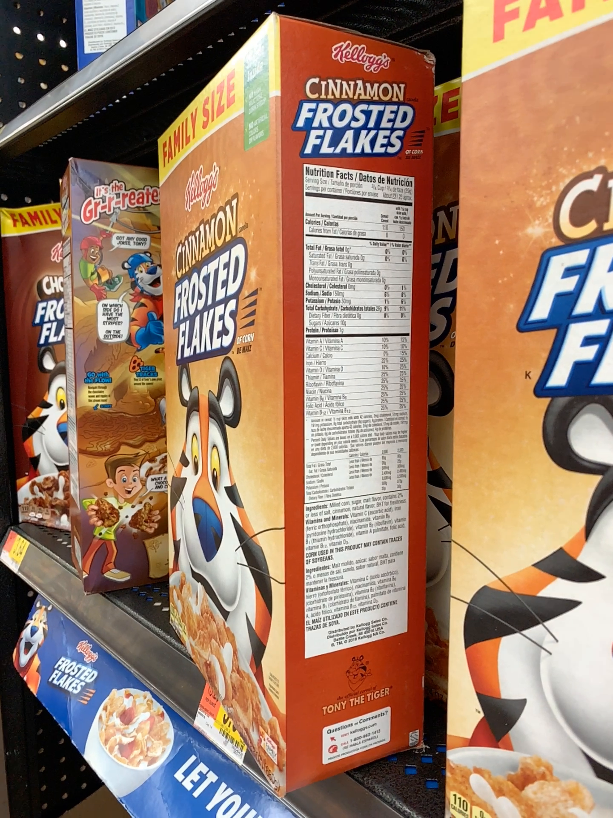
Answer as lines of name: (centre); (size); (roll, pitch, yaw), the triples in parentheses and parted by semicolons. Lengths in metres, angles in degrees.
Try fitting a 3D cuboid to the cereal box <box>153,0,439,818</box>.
cereal box: (-0.021, 0.002, 0.357); (0.080, 0.340, 0.200); (-3, 5, -25)
